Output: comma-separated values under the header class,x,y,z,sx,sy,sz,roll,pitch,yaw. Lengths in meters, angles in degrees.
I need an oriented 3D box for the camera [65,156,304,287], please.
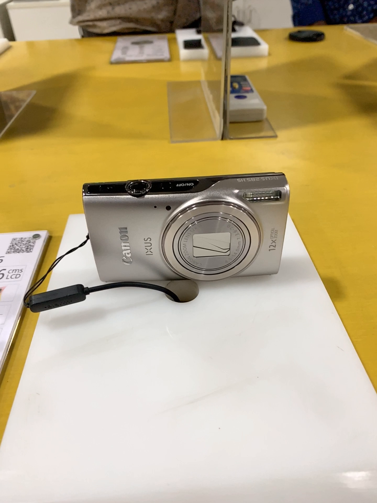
class,x,y,z,sx,sy,sz,roll,pitch,yaw
camera,-0.001,-0.014,0.191,0.100,0.050,0.030,-3,39,0
